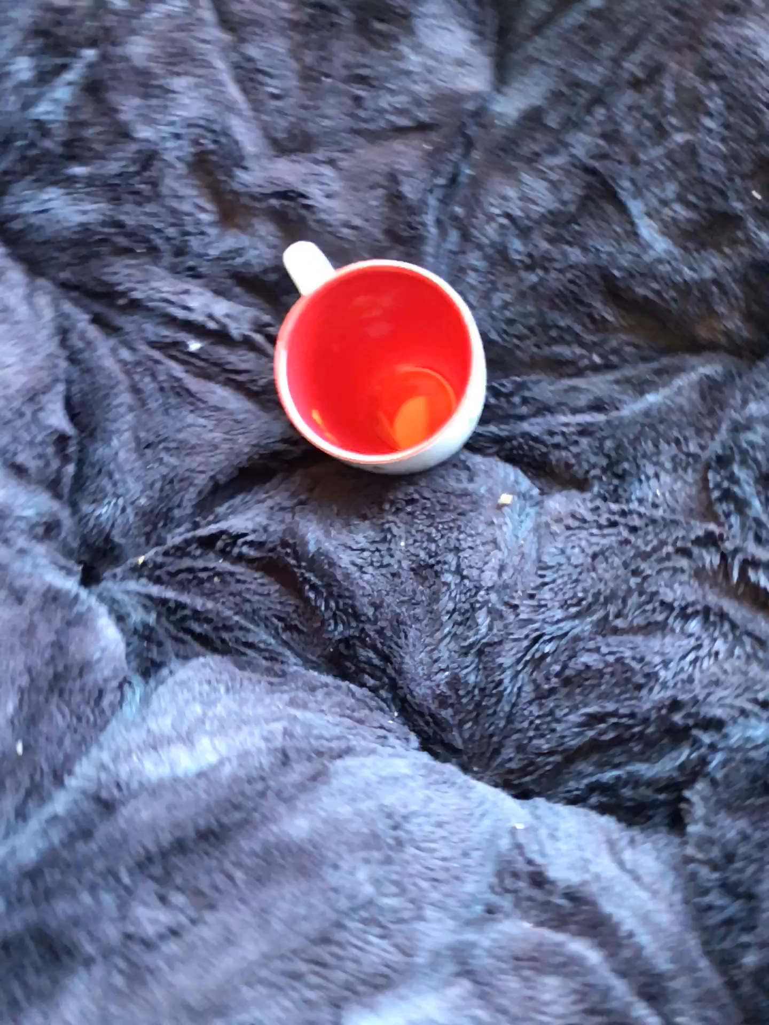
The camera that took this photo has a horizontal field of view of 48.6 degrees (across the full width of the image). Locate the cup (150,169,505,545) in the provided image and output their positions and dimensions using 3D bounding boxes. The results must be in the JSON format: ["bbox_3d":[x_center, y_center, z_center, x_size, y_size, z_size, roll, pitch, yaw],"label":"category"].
[{"bbox_3d":[-0.022,-0.073,0.450,0.100,0.110,0.140,-44,78,0],"label":"cup"}]
